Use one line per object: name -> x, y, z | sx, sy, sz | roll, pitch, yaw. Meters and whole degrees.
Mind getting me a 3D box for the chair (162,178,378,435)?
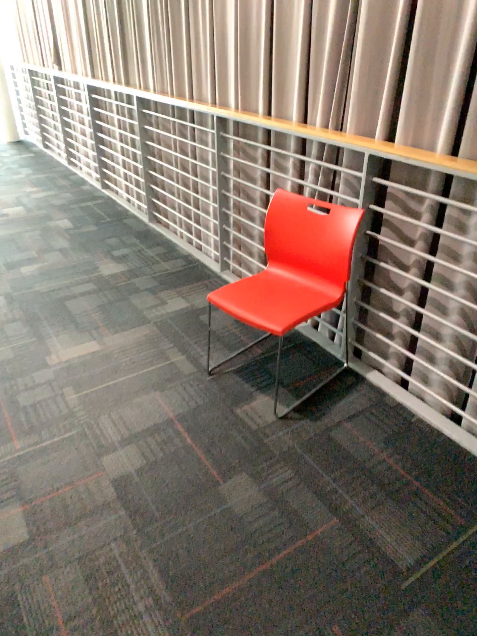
chair -> 0.150, -0.094, 2.284 | 0.661, 0.854, 0.633 | -29, 40, -34
